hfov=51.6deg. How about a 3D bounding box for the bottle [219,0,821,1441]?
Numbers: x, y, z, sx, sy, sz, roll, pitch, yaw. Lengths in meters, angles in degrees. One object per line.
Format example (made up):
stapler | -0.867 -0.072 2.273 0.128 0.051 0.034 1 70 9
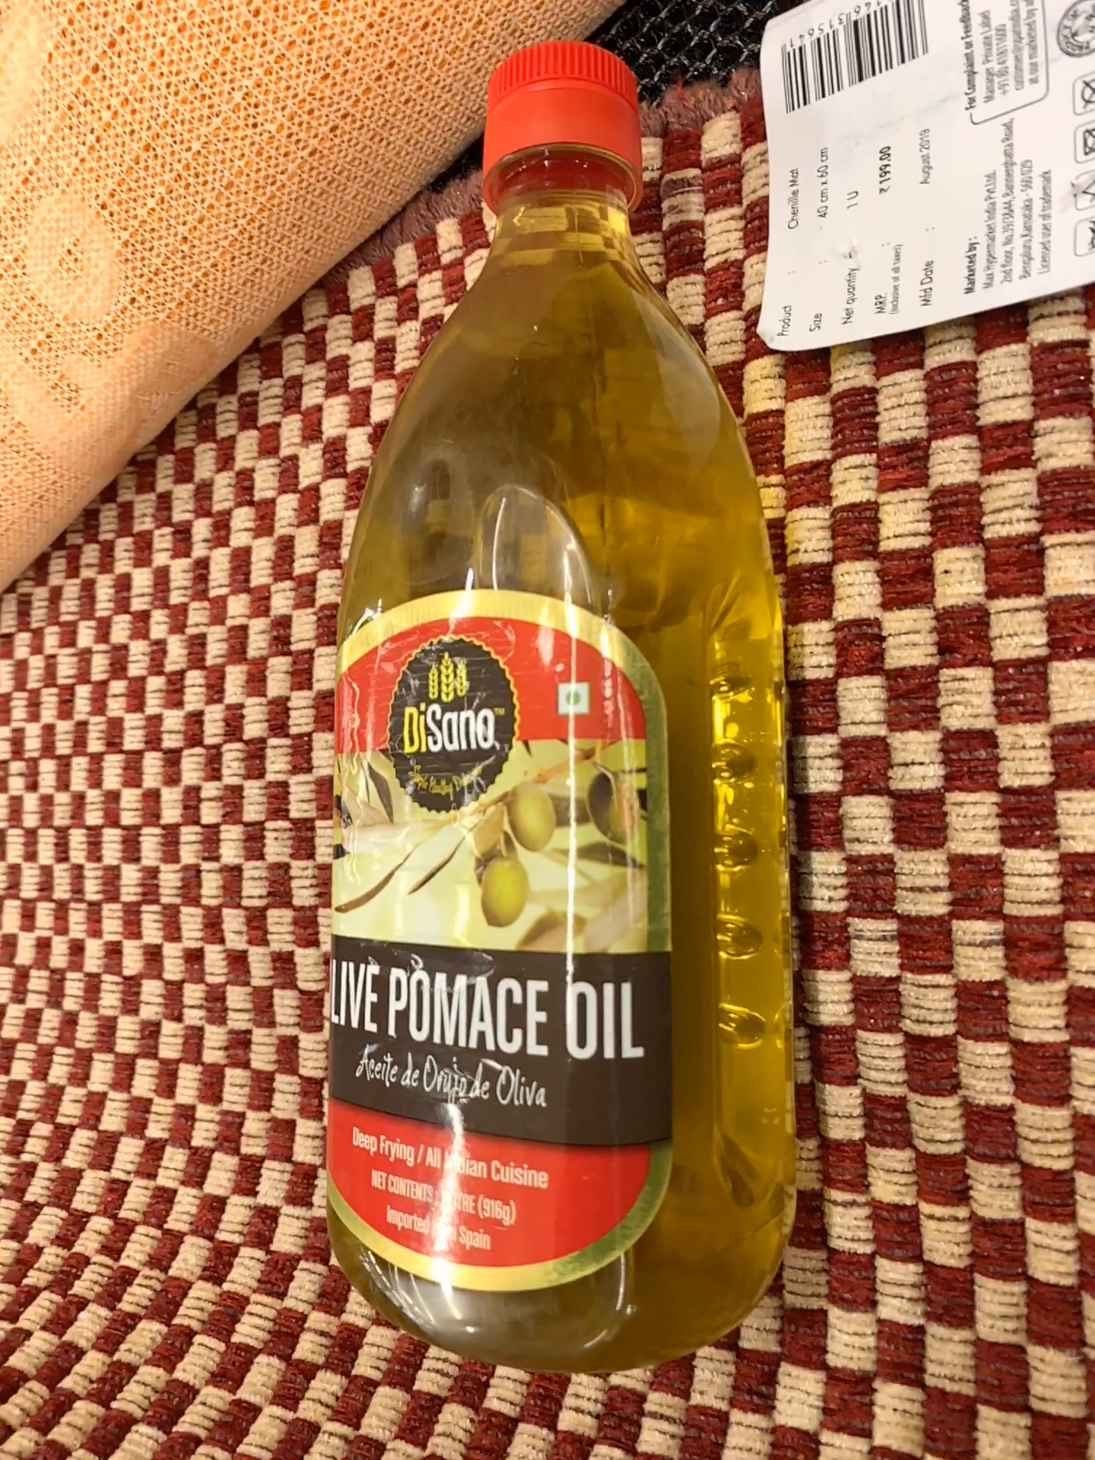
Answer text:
bottle | 0.001 -0.004 0.216 0.080 0.080 0.210 -1 85 30
